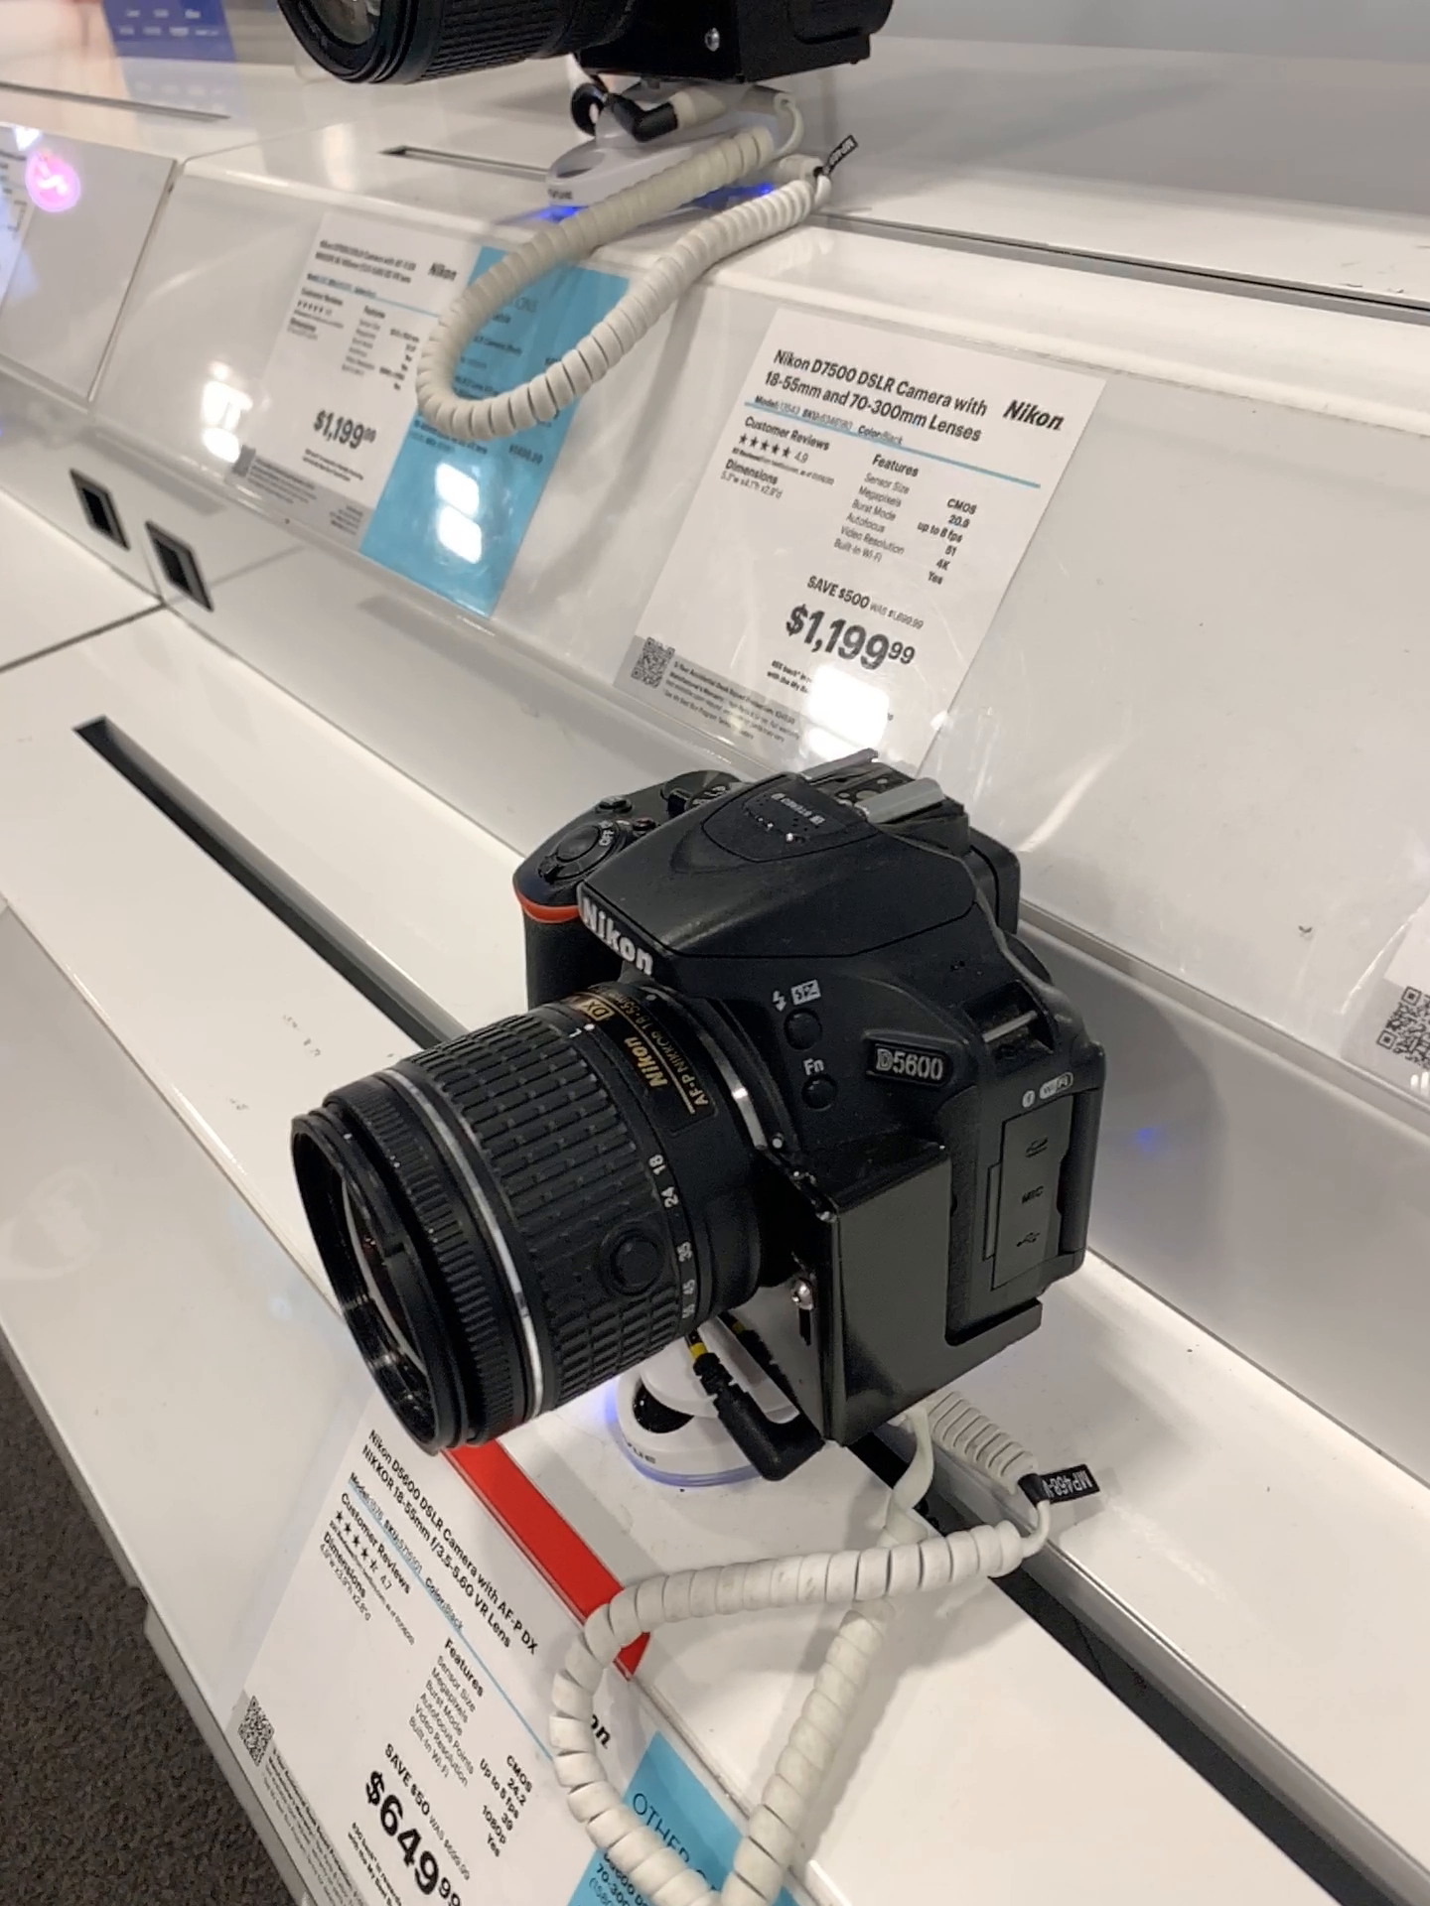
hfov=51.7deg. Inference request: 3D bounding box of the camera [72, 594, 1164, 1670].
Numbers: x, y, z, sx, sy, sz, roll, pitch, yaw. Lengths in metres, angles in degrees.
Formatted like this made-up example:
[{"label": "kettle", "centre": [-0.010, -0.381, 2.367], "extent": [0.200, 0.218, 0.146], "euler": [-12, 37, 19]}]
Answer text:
[{"label": "camera", "centre": [-0.019, 0.015, 0.257], "extent": [0.120, 0.090, 0.131], "euler": [-25, 41, -27]}]
